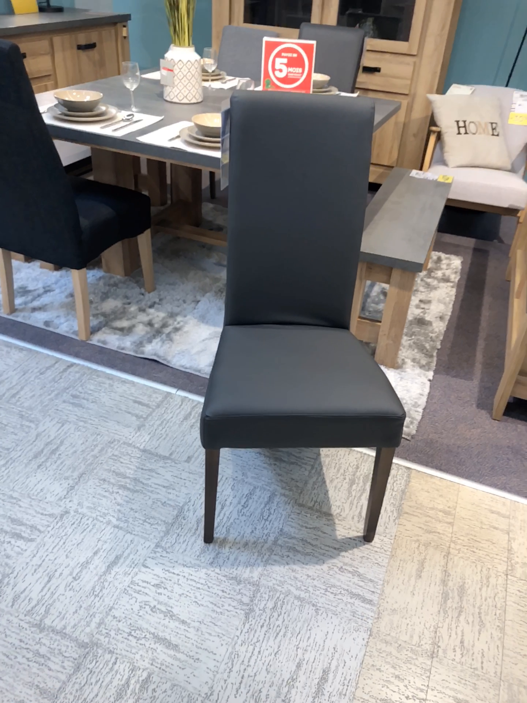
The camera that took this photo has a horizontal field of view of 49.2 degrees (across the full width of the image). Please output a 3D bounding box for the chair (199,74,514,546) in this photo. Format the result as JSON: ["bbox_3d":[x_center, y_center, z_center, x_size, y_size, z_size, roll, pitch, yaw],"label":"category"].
[{"bbox_3d":[0.106,-0.082,1.457,0.520,1.014,0.573,1,34,-6],"label":"chair"}]
